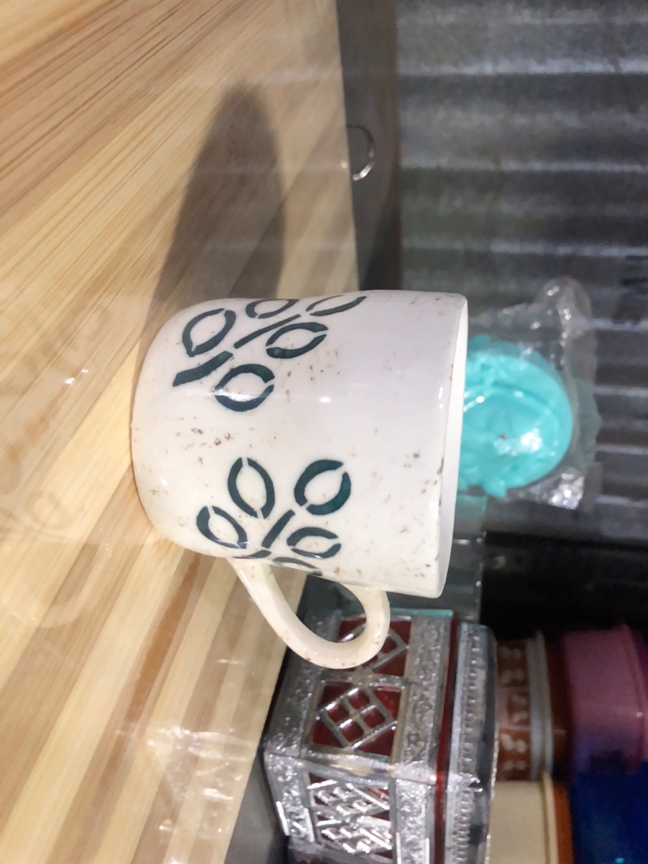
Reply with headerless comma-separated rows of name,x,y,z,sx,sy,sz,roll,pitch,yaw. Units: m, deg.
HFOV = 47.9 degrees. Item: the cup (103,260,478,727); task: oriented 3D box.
cup,0.000,0.006,0.185,0.080,0.070,0.090,-54,146,-69
